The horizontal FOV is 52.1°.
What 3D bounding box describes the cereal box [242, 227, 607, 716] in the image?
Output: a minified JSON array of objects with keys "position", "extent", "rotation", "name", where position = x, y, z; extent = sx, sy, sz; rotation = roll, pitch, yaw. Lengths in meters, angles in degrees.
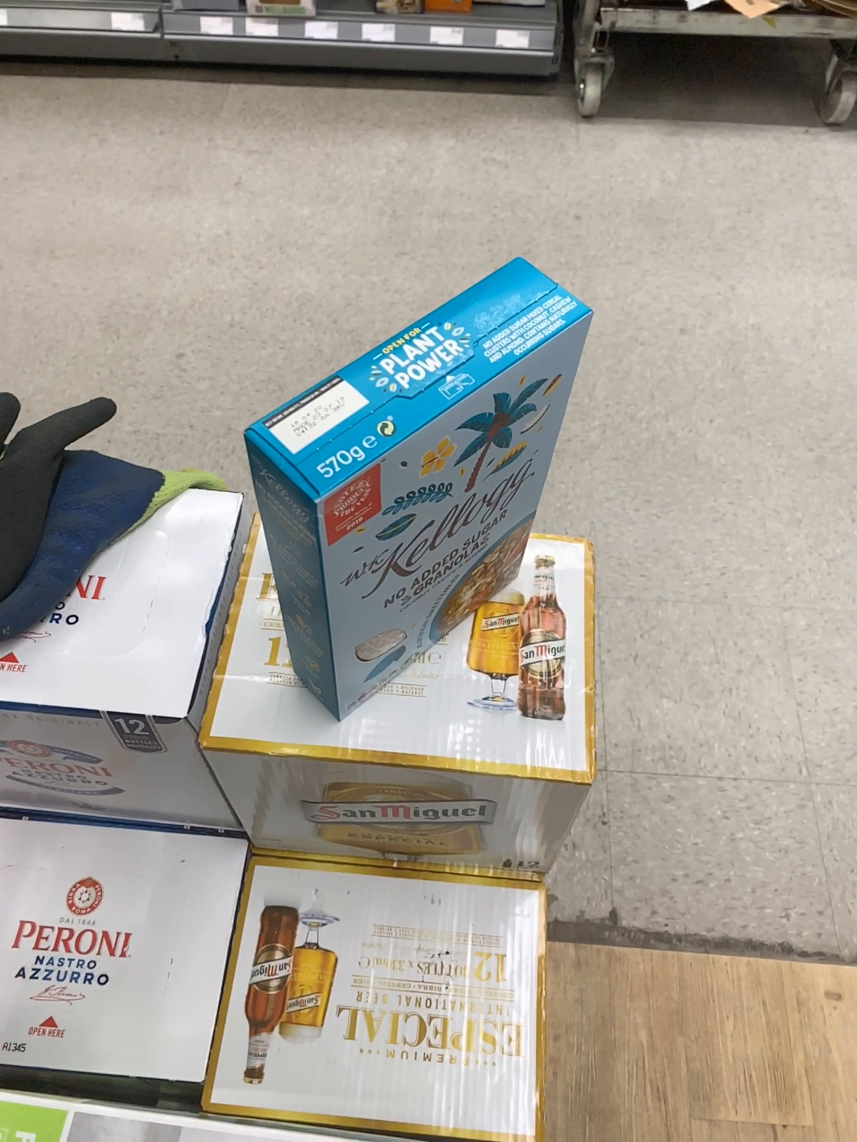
[{"position":[-0.003,-0.034,0.471],"extent":[0.161,0.248,0.050],"rotation":[-38,69,-21],"name":"cereal box"}]
